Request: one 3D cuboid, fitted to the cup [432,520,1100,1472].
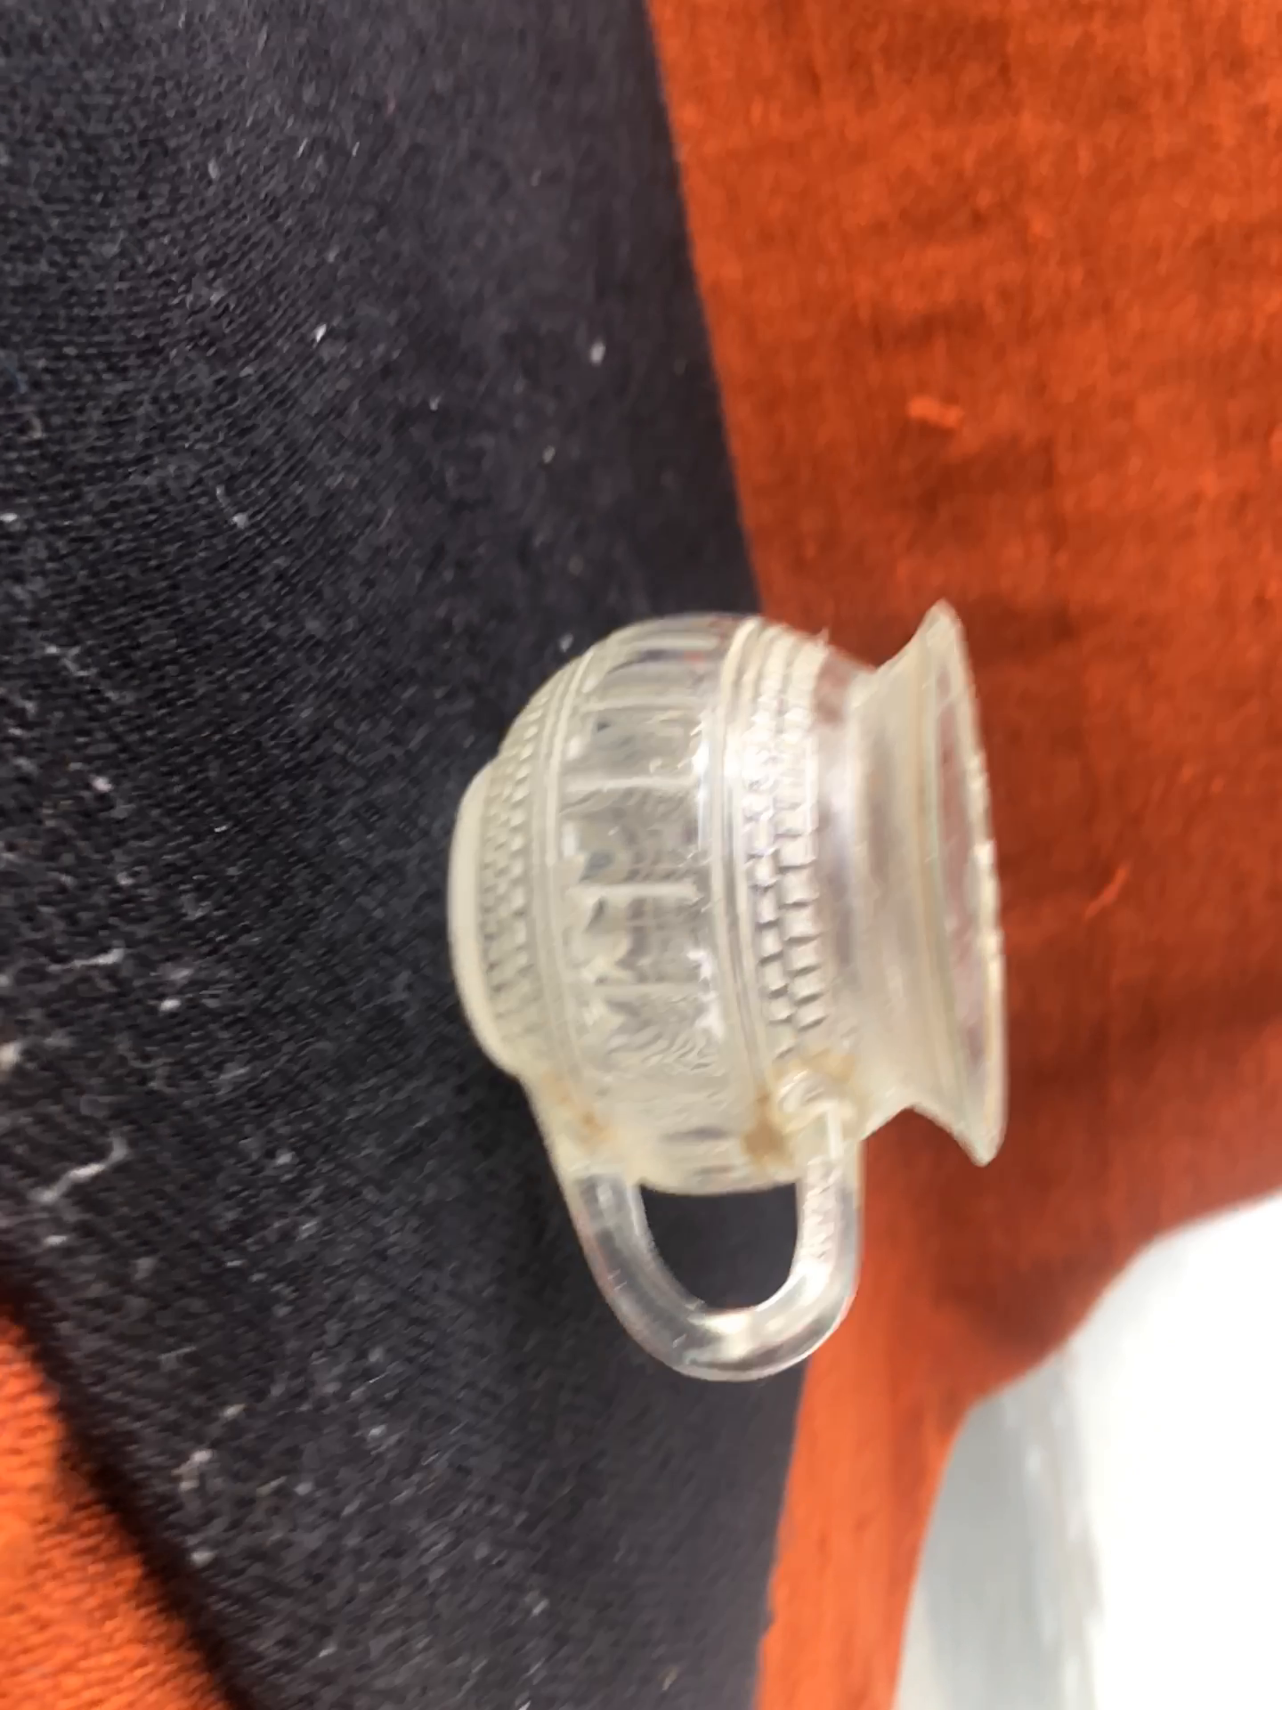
[{"bbox_3d":[0.020,0.021,0.176,0.070,0.060,0.090,41,47,-66],"label":"cup"}]
